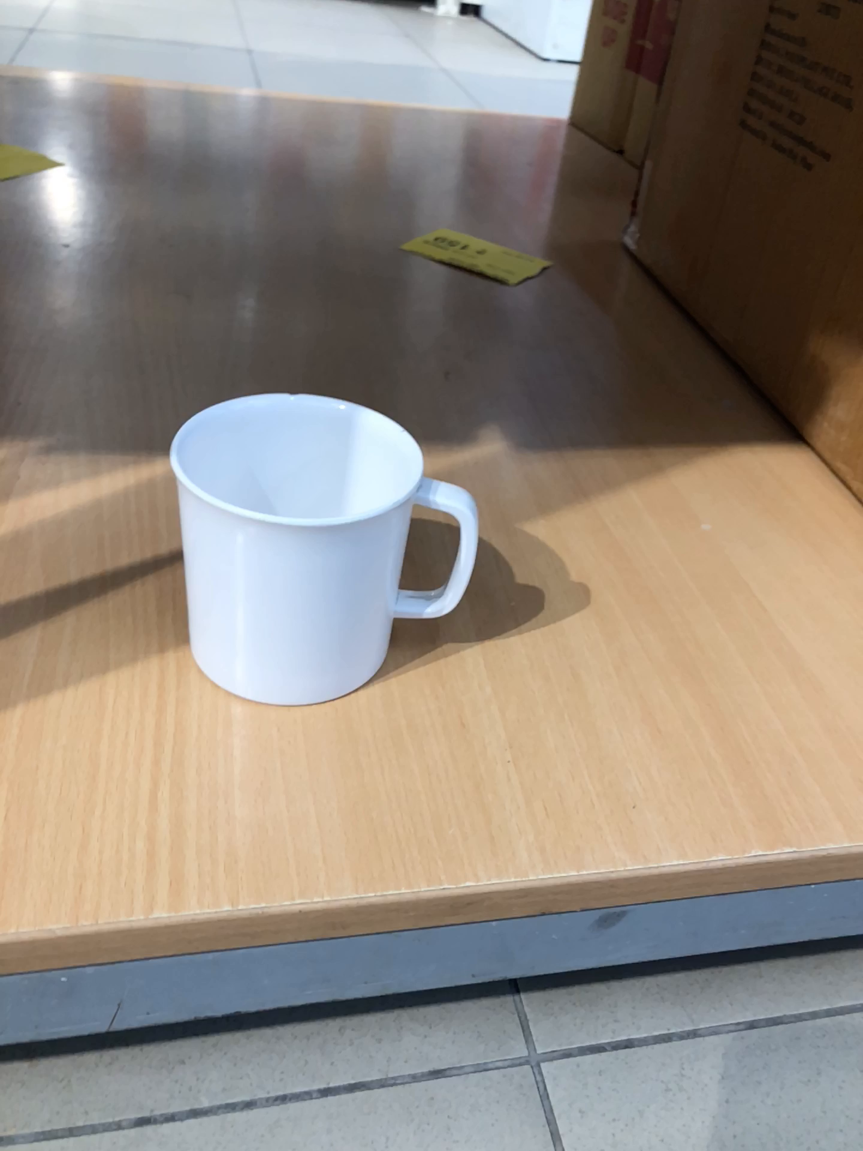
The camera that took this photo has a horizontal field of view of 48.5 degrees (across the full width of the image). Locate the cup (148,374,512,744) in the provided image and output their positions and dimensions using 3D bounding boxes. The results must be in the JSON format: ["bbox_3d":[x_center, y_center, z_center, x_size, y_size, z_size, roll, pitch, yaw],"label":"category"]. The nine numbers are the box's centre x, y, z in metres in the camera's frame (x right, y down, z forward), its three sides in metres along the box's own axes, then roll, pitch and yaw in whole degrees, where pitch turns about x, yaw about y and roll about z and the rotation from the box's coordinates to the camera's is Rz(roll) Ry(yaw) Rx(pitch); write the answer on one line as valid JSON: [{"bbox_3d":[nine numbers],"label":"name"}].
[{"bbox_3d":[-0.033,-0.007,0.346,0.110,0.089,0.081,8,36,-1],"label":"cup"}]
